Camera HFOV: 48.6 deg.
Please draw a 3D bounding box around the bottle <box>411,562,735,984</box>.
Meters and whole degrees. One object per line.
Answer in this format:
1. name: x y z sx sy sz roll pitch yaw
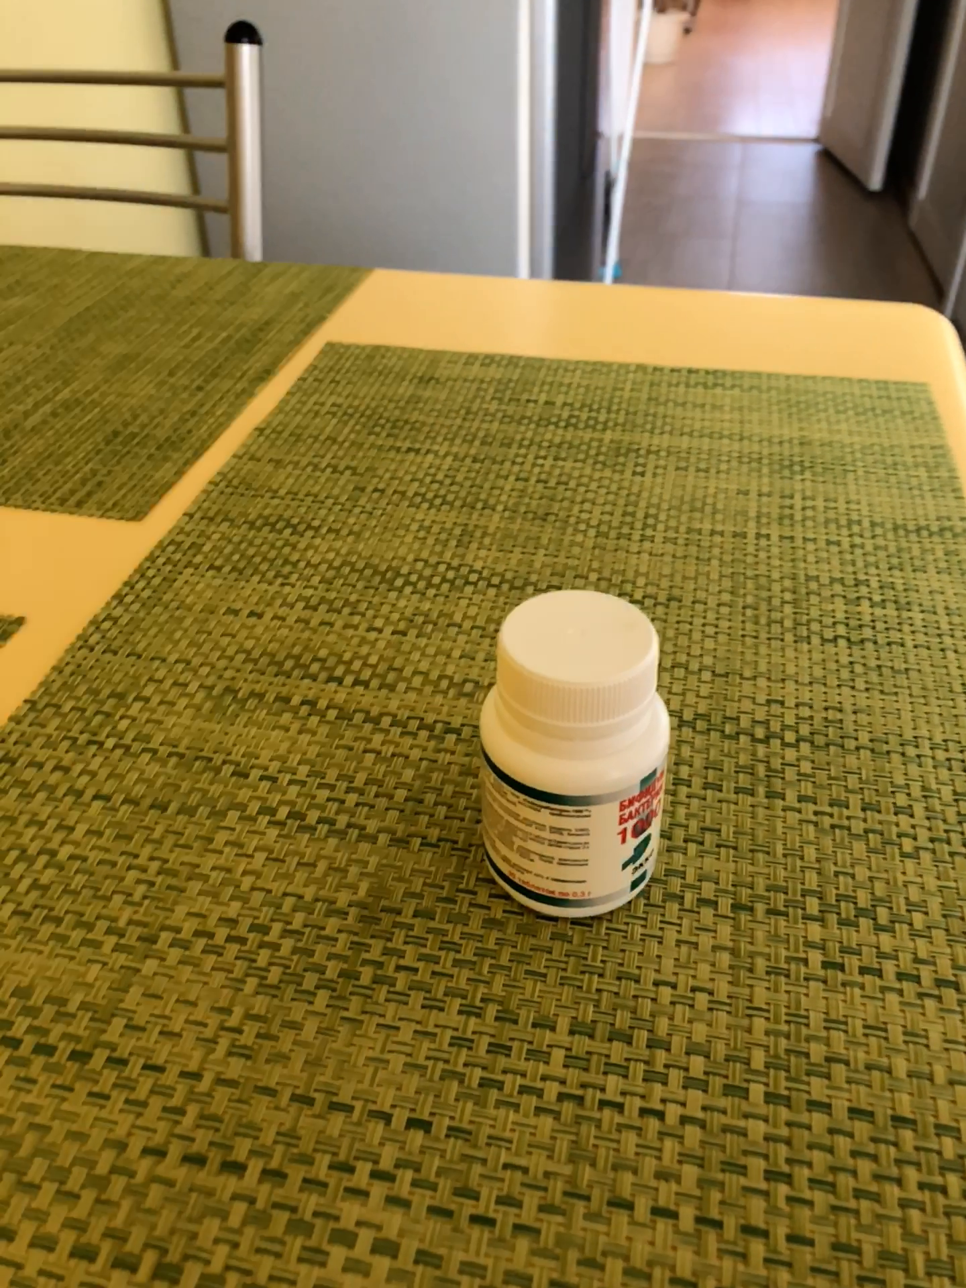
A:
1. bottle: 0.020 0.029 0.254 0.050 0.070 0.050 0 36 0
